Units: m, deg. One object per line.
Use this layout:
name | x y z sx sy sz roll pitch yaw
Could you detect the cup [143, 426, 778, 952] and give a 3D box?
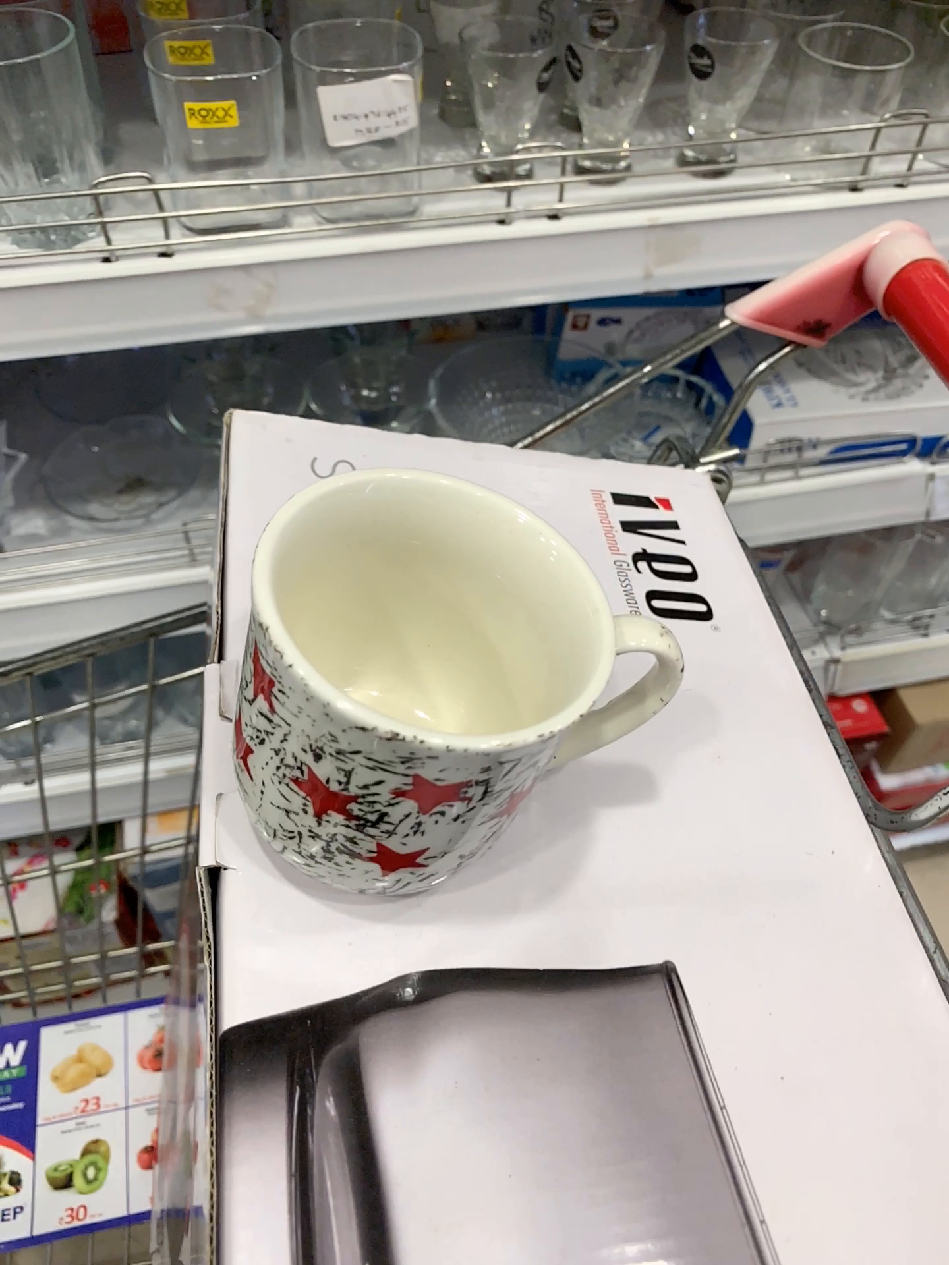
cup | -0.009 0.017 0.205 0.100 0.070 0.070 9 48 -22
